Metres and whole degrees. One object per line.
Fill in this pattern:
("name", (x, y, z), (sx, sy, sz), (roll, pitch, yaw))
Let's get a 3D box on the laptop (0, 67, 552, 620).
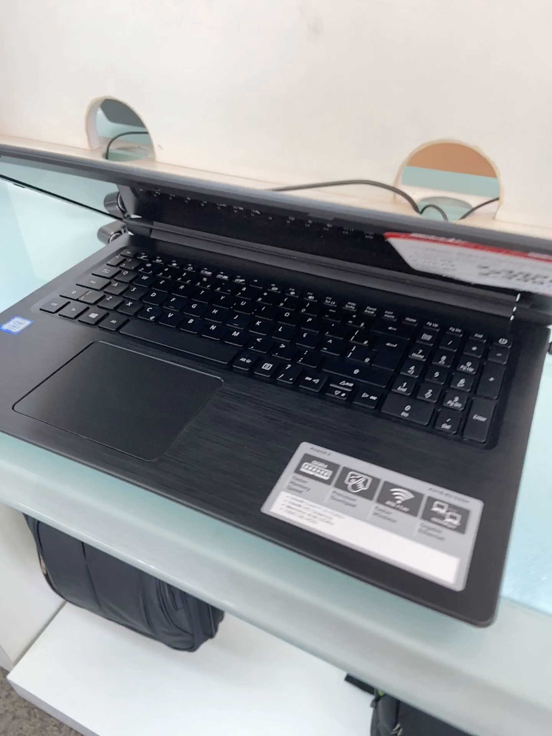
("laptop", (-0.030, -0.065, 0.334), (0.367, 0.142, 0.234), (15, 41, 21))
